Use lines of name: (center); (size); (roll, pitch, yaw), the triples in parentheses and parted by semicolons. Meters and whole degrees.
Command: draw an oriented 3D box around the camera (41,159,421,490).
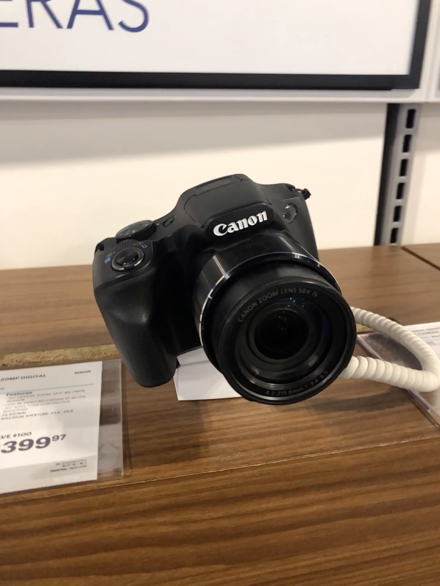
camera: (-0.005, -0.004, 0.241); (0.130, 0.070, 0.141); (-20, 25, -7)
